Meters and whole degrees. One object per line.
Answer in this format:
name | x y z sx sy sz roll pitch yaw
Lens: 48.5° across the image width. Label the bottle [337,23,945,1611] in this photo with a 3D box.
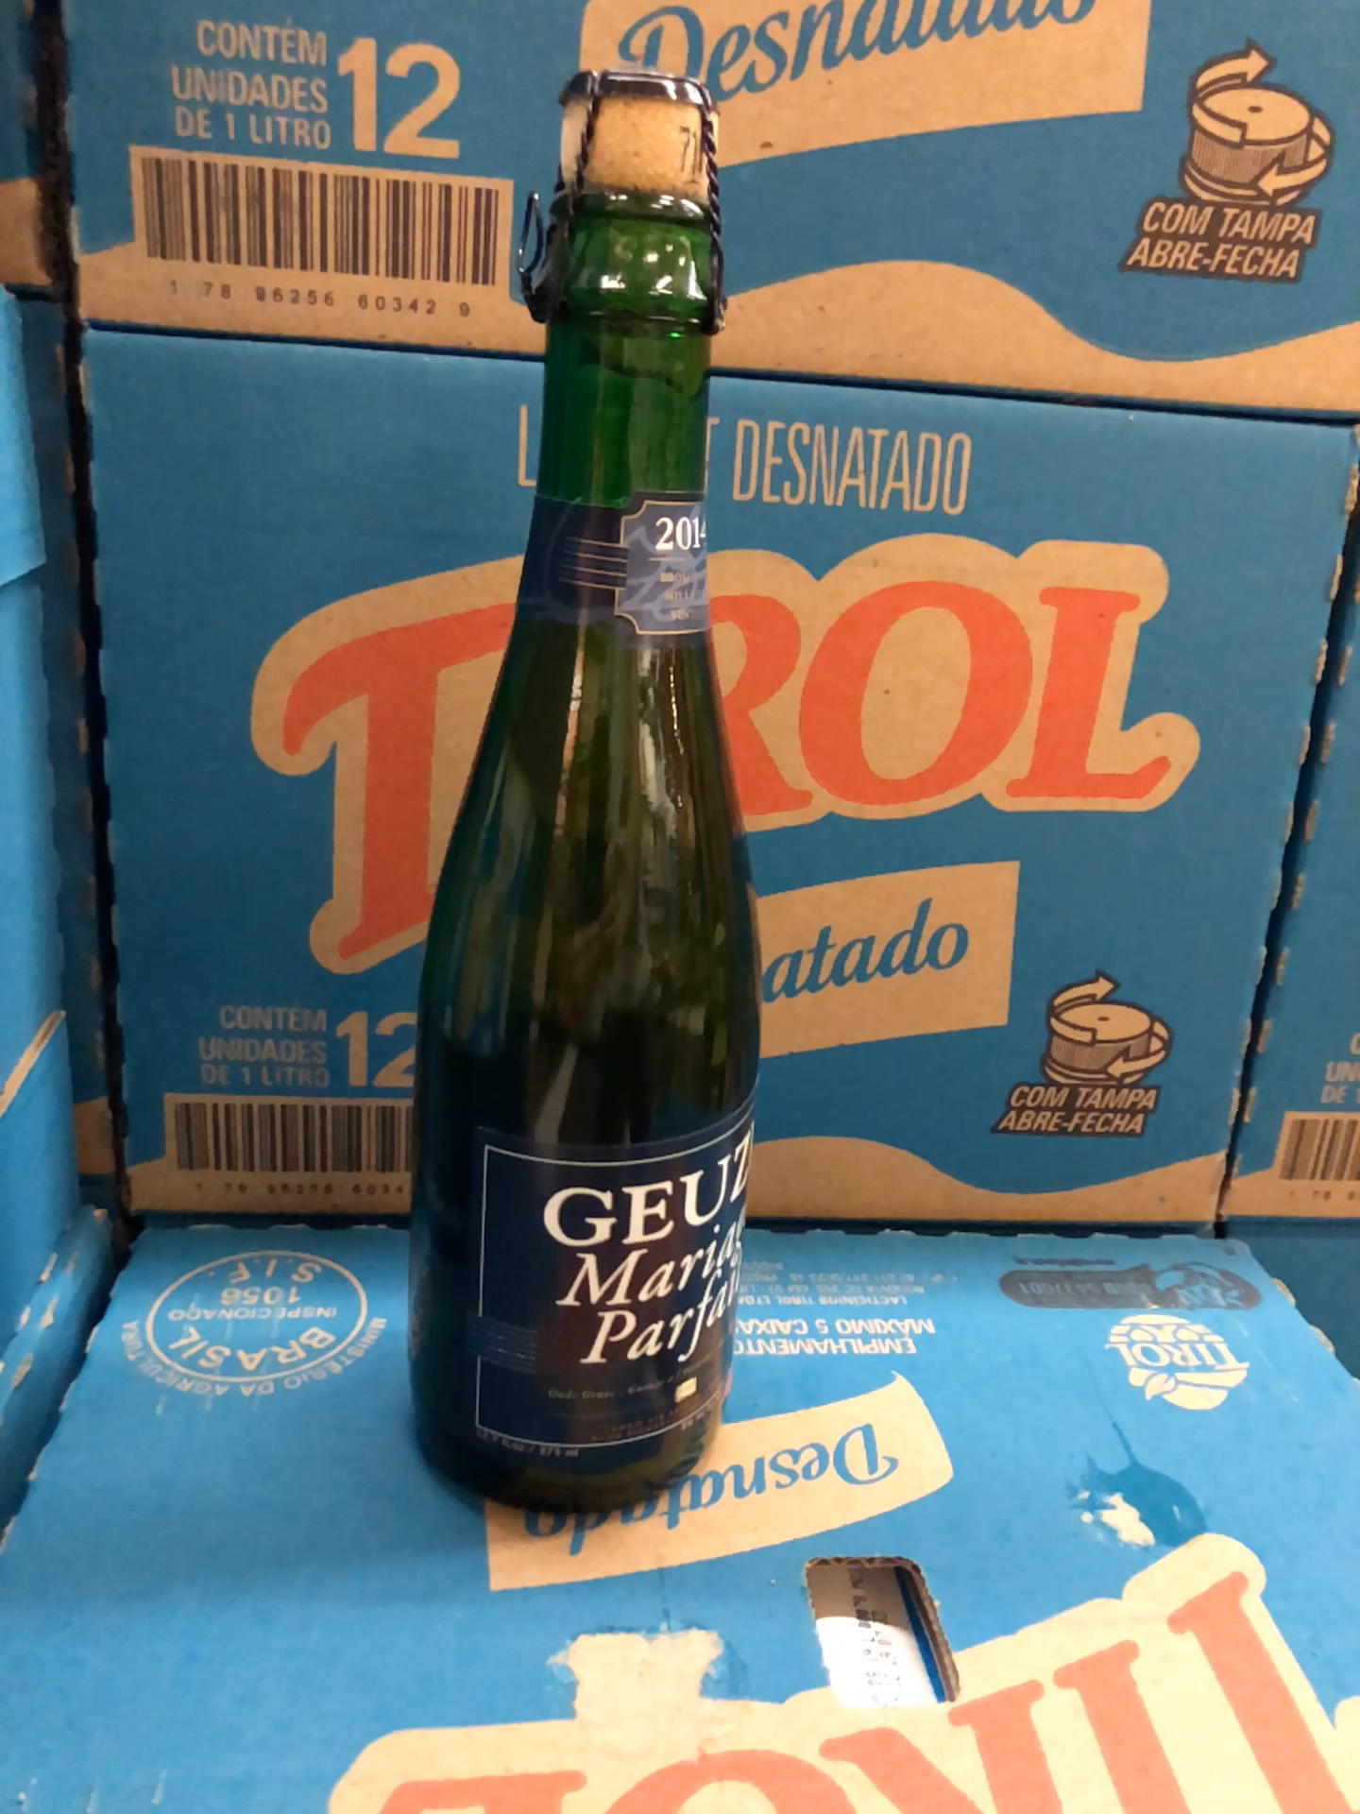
bottle | -0.014 -0.008 0.281 0.060 0.258 0.070 20 23 38
